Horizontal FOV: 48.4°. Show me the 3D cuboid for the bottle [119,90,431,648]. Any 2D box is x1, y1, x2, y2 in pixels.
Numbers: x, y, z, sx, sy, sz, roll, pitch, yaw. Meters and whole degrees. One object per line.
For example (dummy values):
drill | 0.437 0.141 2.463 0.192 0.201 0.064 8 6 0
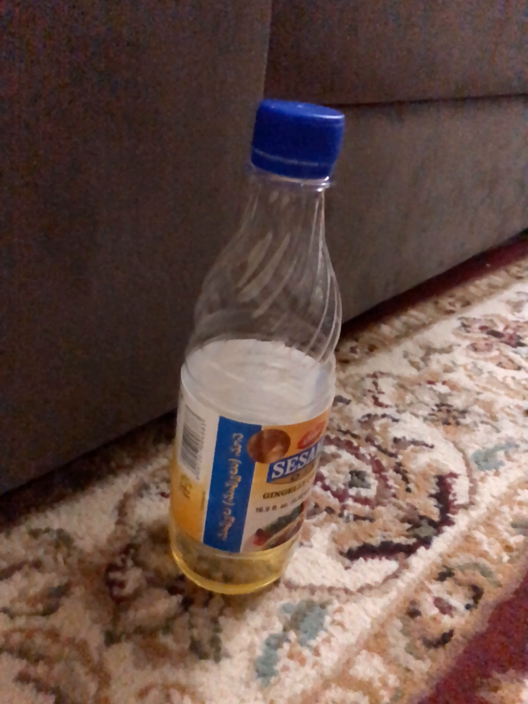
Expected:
bottle | -0.005 0.010 0.234 0.070 0.199 0.070 5 29 -3
